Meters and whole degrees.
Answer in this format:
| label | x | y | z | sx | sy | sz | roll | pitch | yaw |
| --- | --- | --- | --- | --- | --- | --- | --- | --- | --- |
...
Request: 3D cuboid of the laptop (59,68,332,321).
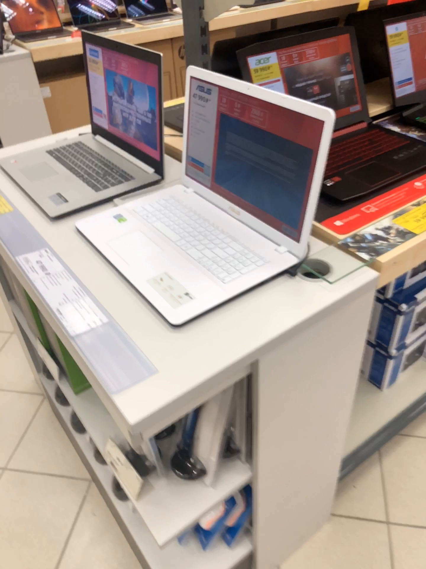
| label | x | y | z | sx | sy | sz | roll | pitch | yaw |
| --- | --- | --- | --- | --- | --- | --- | --- | --- | --- |
| laptop | -0.044 | -0.195 | 0.843 | 0.301 | 0.235 | 0.388 | -26 | 42 | -24 |
